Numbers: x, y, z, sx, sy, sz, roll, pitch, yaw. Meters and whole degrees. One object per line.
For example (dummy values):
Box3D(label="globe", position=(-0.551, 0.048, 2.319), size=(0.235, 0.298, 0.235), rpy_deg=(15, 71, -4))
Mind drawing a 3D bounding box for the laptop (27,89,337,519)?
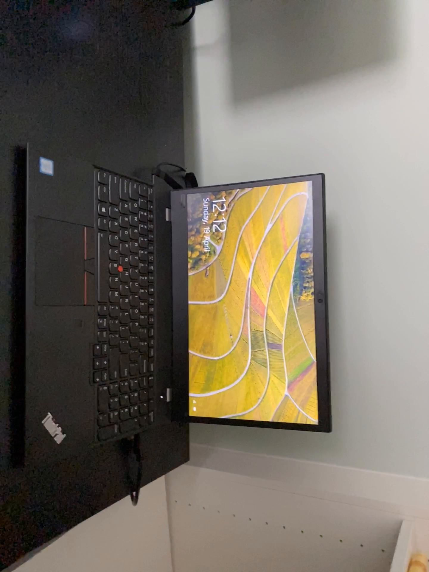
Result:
Box3D(label="laptop", position=(-0.019, 0.021, 0.537), size=(0.295, 0.231, 0.351), rpy_deg=(5, 83, -58))
